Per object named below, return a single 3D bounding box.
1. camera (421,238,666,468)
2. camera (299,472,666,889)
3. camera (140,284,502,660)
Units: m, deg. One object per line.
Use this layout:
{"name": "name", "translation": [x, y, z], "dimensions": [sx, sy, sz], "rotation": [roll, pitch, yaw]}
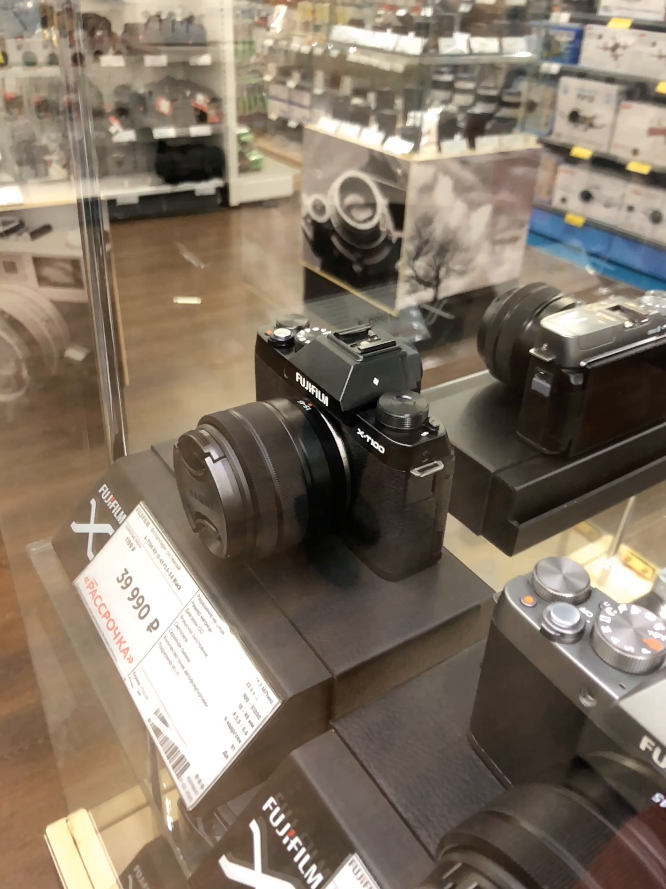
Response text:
{"name": "camera", "translation": [0.130, -0.057, 0.407], "dimensions": [0.120, 0.069, 0.100], "rotation": [-18, 38, -30]}
{"name": "camera", "translation": [0.066, 0.082, 0.175], "dimensions": [0.099, 0.078, 0.120], "rotation": [-17, 37, -28]}
{"name": "camera", "translation": [-0.012, 0.001, 0.314], "dimensions": [0.095, 0.089, 0.120], "rotation": [-16, 37, -27]}
